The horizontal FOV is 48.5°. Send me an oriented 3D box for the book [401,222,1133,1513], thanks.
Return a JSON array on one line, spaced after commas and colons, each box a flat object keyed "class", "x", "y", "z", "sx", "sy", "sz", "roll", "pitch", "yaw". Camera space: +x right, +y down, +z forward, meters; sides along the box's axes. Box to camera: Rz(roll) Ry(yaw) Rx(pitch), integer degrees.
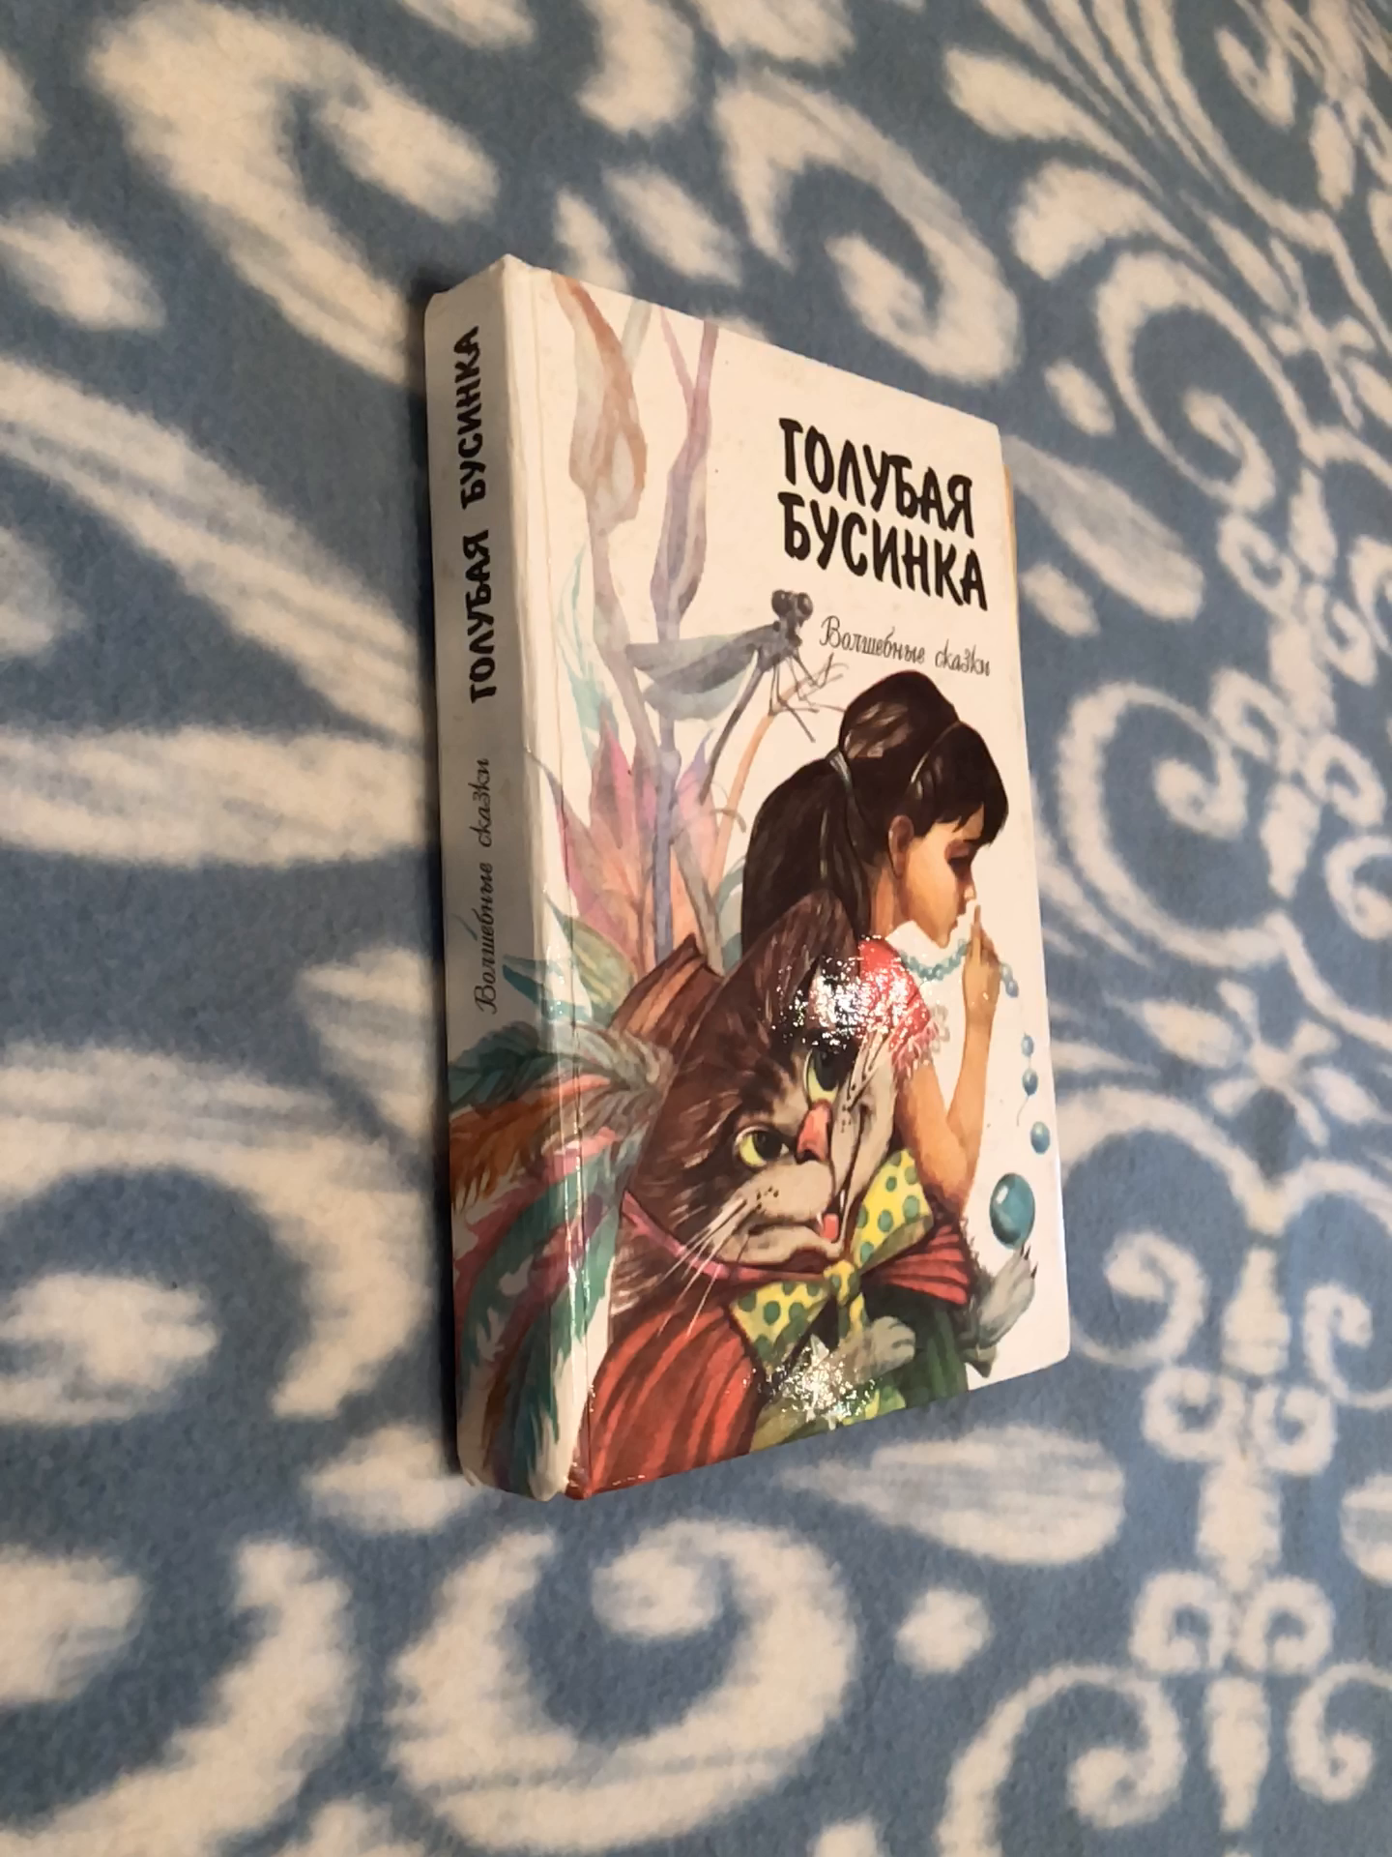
[{"class": "book", "x": 0.020, "y": -0.011, "z": 0.307, "sx": 0.146, "sy": 0.040, "sz": 0.206, "roll": 0, "pitch": 84, "yaw": -41}]
